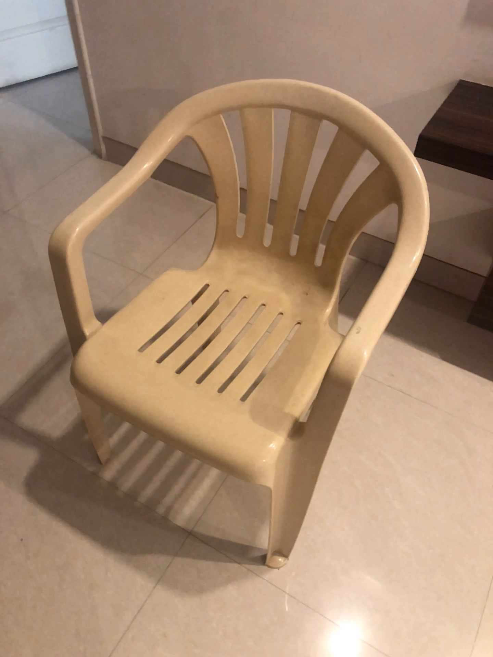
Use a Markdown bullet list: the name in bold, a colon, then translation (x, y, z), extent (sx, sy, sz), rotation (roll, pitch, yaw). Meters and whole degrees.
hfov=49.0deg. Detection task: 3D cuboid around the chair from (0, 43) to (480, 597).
- **chair**: translation (-0.020, -0.003, 1.088), extent (0.571, 0.775, 0.593), rotation (23, 52, 18)
